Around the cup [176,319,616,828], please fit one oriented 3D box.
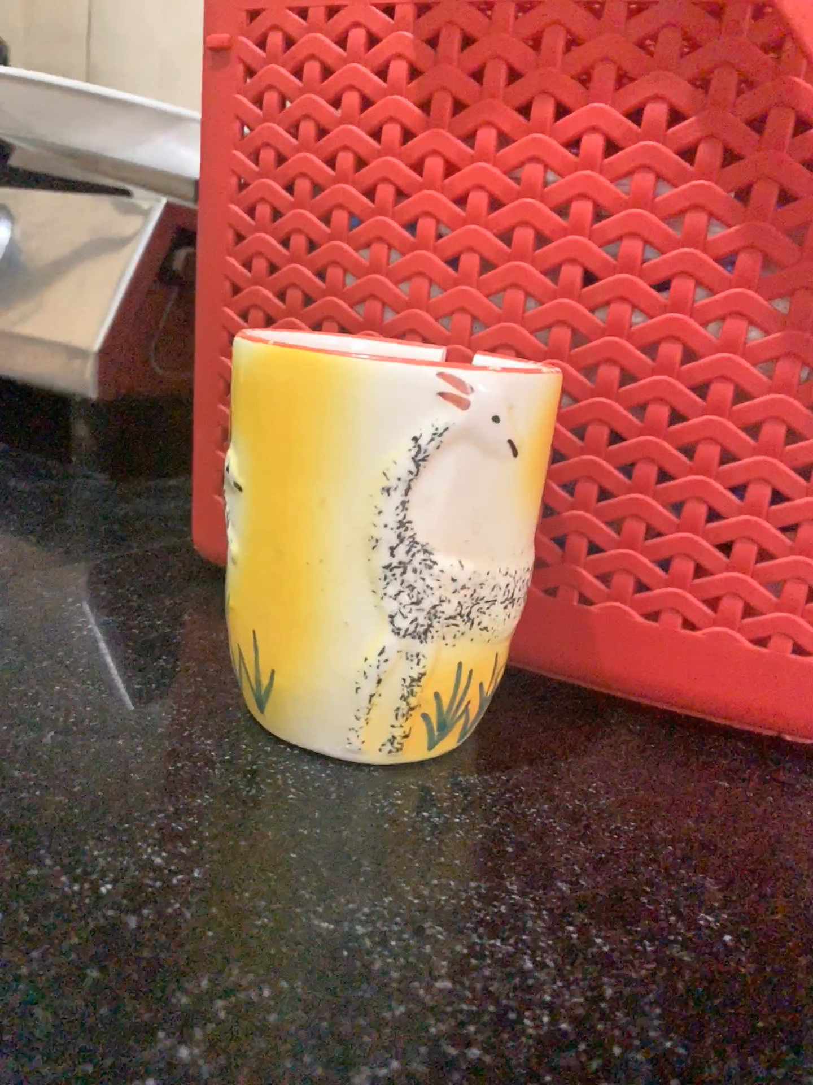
[{"bbox_3d":[0.000,-0.001,0.226,0.080,0.099,0.080,8,15,-2],"label":"cup"}]
